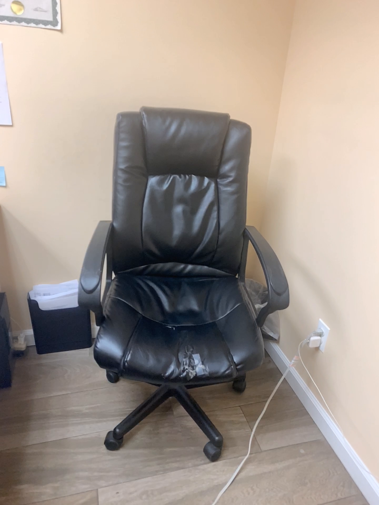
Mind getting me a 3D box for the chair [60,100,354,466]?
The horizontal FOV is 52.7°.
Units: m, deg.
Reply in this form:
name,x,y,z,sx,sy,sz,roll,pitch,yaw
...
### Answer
name,x,y,z,sx,sy,sz,roll,pitch,yaw
chair,-0.003,0.086,1.343,0.648,1.083,0.630,3,24,-4
